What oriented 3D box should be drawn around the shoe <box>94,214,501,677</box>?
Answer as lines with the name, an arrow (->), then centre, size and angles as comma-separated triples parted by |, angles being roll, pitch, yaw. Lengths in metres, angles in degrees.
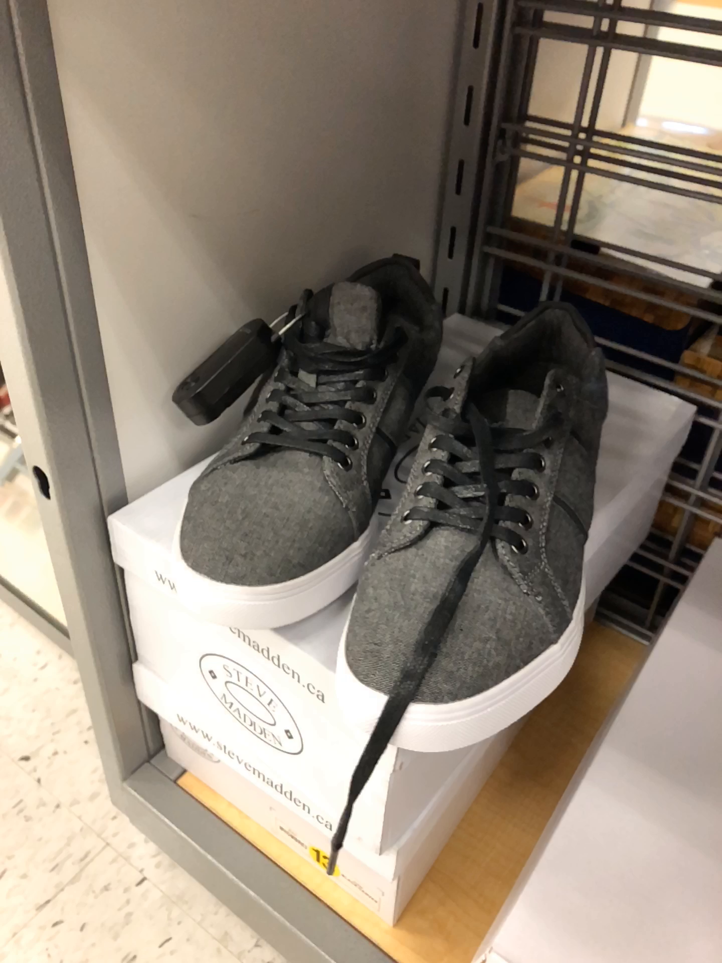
shoe -> -0.013, -0.041, 0.431 | 0.110, 0.106, 0.255 | 14, 39, 14

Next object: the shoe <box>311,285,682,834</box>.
shoe -> 0.077, 0.012, 0.391 | 0.100, 0.106, 0.255 | 17, 40, 16
